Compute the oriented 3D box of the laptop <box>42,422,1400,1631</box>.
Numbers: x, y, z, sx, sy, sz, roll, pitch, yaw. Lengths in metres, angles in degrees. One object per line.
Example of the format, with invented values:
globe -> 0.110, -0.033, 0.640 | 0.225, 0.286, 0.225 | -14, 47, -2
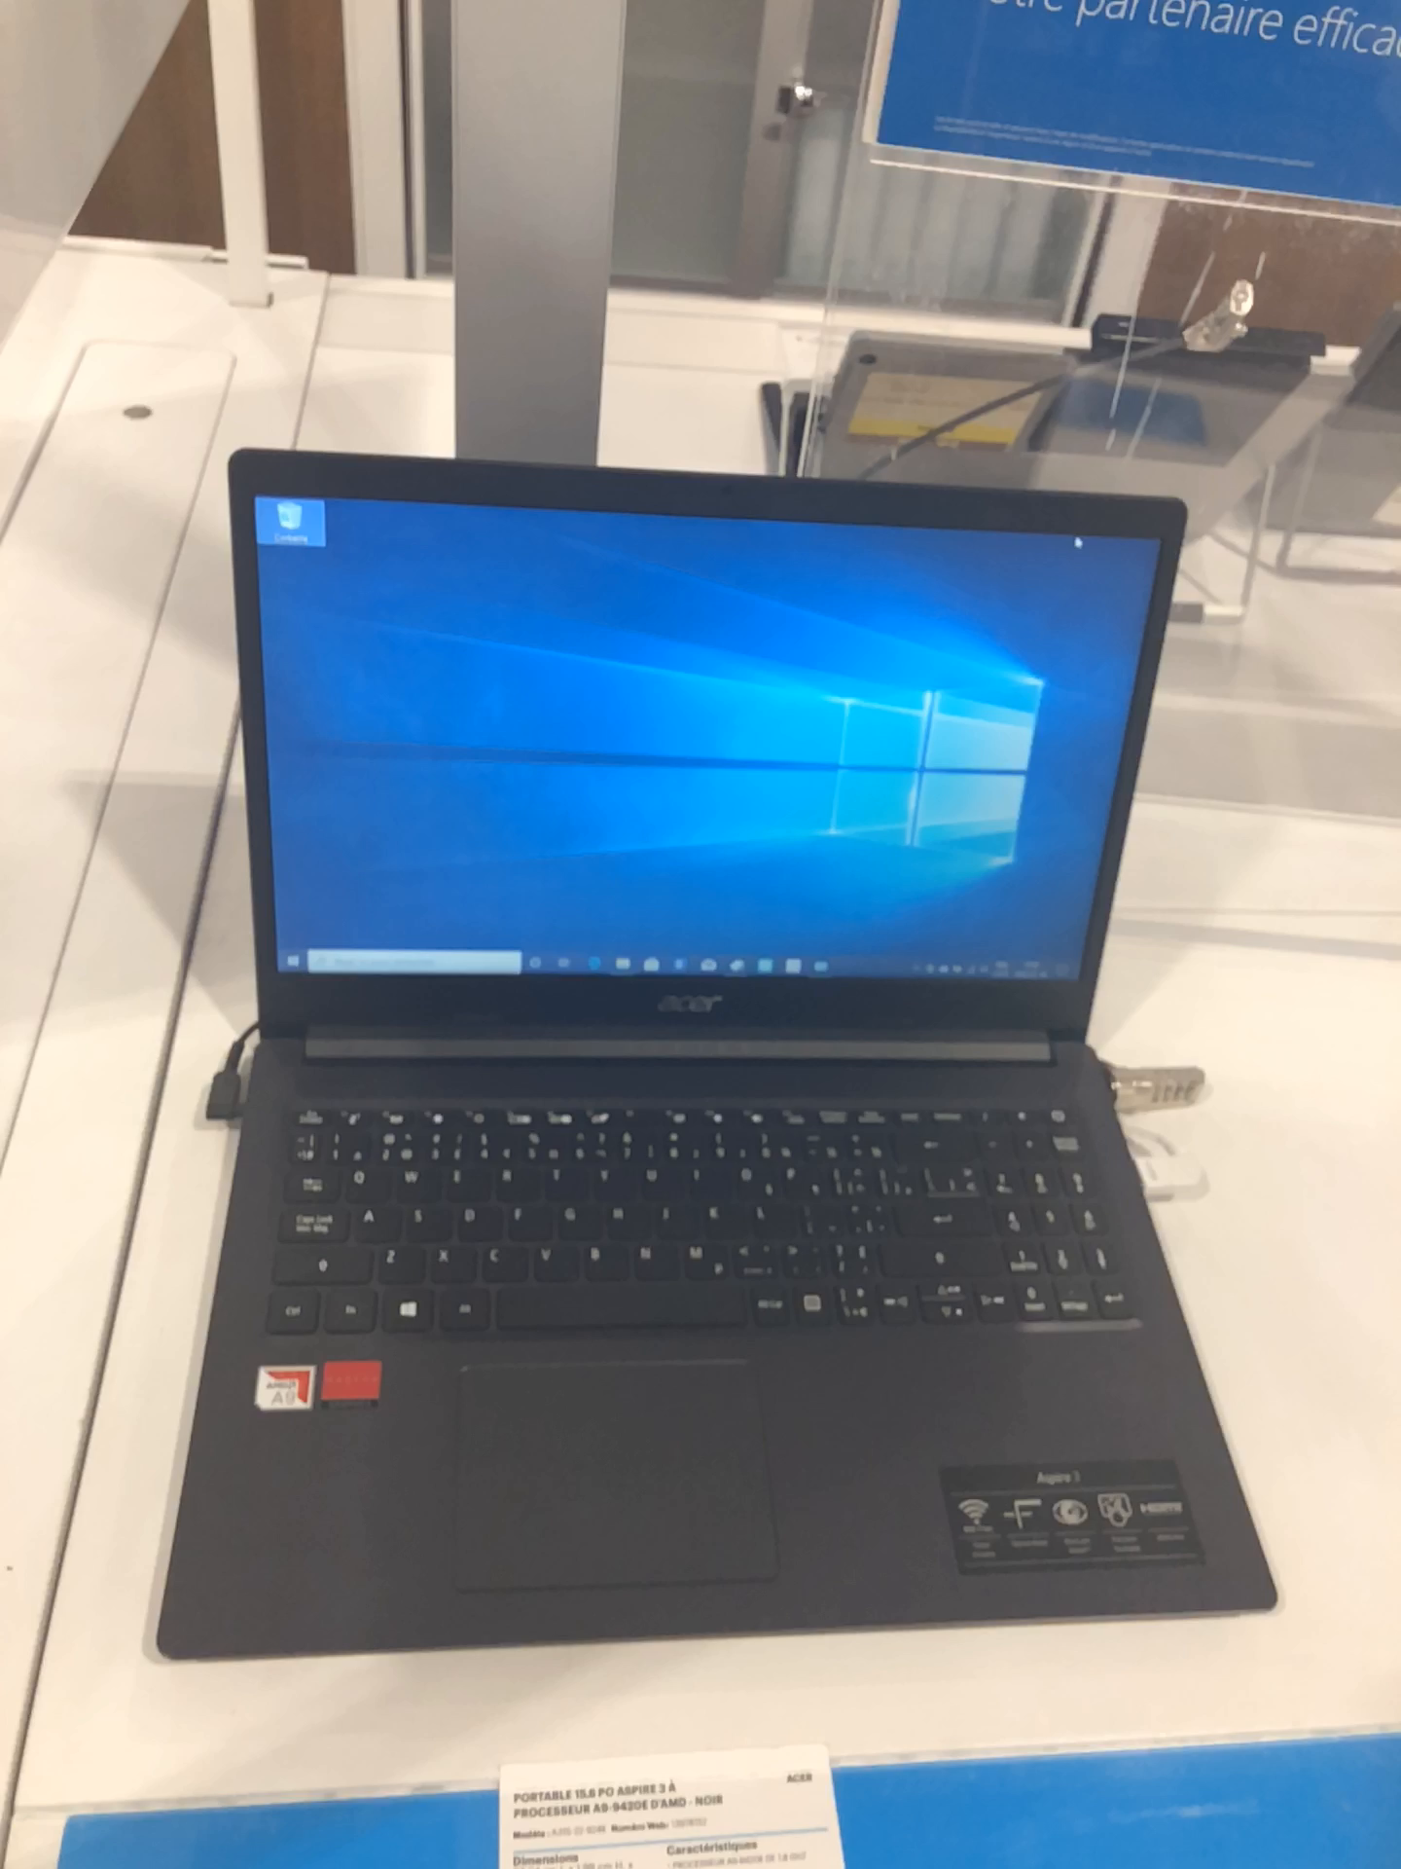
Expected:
laptop -> 0.011, 0.020, 0.558 | 0.367, 0.212, 0.351 | 1, 47, -7
